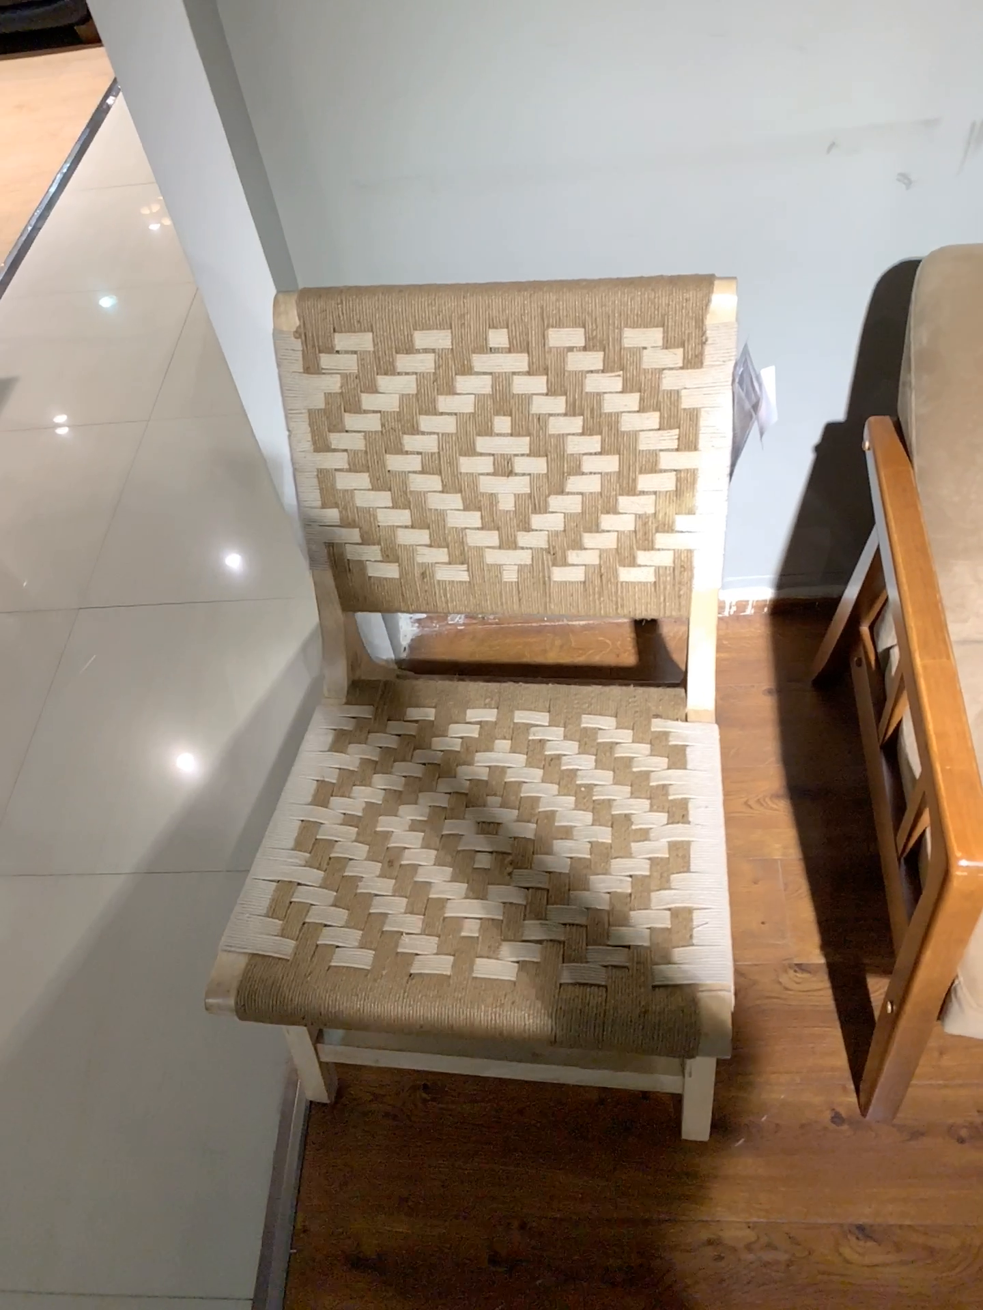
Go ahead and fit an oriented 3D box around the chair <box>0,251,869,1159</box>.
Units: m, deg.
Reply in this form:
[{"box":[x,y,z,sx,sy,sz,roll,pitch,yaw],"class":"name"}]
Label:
[{"box":[0.004,0.110,1.183,0.630,0.847,0.662,1,52,9],"class":"chair"}]
